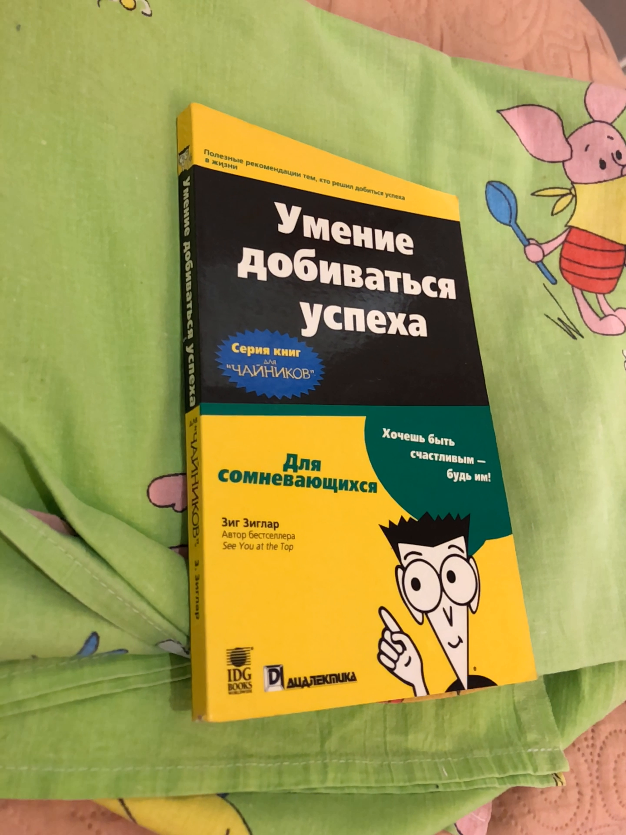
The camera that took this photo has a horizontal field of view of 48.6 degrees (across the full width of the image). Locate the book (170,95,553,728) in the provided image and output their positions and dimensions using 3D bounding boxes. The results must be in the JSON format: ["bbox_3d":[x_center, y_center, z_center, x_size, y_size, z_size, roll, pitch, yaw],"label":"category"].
[{"bbox_3d":[0.015,-0.007,0.235,0.125,0.015,0.191,7,67,-31],"label":"book"}]
